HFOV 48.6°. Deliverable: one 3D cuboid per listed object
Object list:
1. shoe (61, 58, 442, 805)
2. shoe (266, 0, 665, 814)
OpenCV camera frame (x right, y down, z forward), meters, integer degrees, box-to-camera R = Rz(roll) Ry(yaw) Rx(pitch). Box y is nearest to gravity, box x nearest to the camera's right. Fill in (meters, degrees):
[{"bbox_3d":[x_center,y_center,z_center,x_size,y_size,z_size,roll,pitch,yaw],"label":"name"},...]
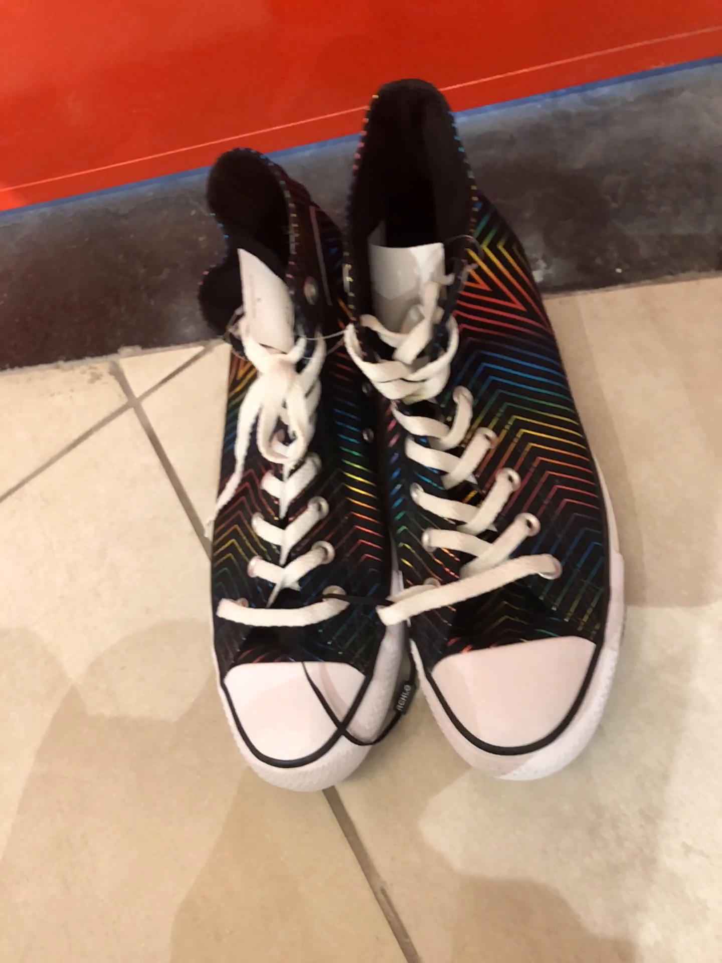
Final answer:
[{"bbox_3d":[-0.041,-0.016,0.389,0.110,0.140,0.311,-8,71,17],"label":"shoe"},{"bbox_3d":[0.044,-0.029,0.357,0.110,0.140,0.311,-11,70,16],"label":"shoe"}]
